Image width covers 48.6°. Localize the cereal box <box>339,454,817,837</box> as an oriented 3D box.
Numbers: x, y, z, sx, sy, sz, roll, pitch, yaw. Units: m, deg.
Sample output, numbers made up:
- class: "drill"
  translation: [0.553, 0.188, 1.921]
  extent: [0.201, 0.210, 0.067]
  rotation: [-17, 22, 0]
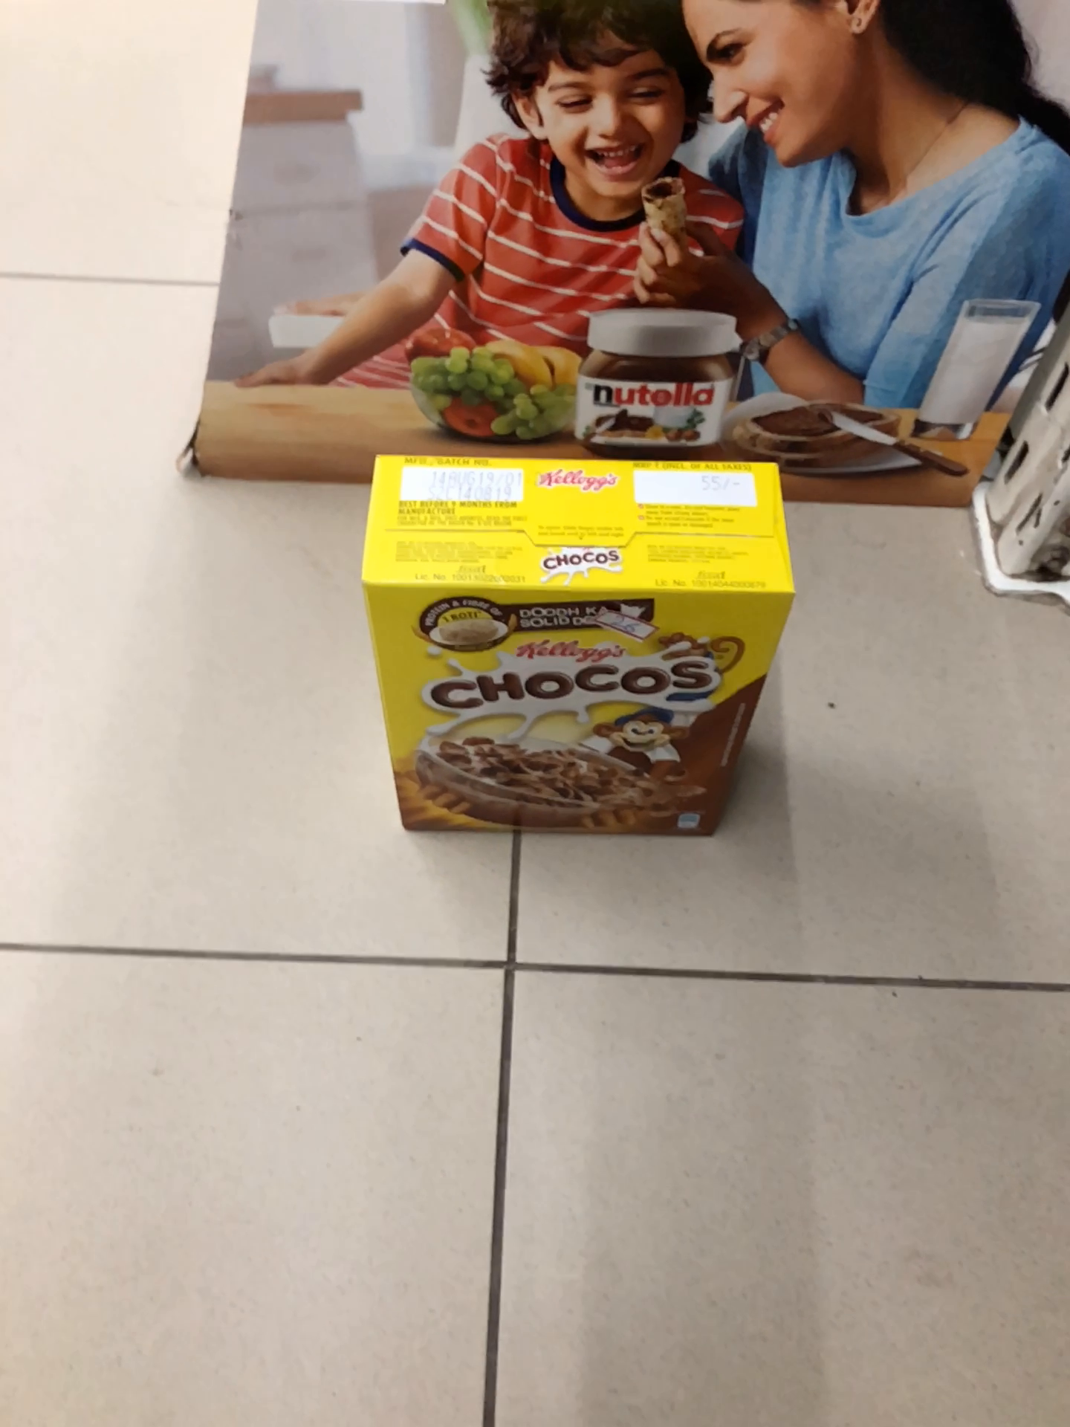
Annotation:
- class: "cereal box"
  translation: [0.011, -0.015, 0.432]
  extent: [0.140, 0.169, 0.050]
  rotation: [1, 59, -1]
